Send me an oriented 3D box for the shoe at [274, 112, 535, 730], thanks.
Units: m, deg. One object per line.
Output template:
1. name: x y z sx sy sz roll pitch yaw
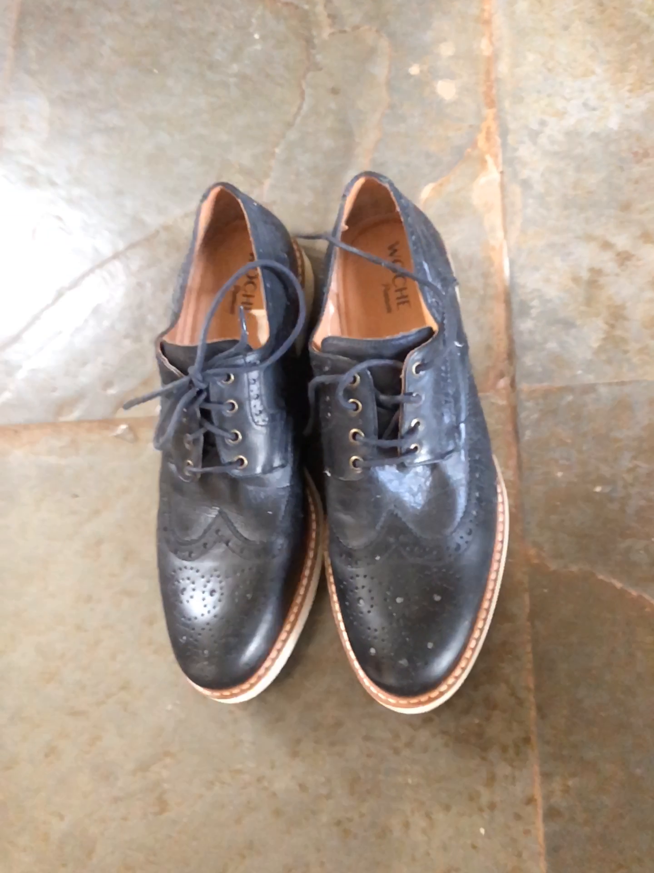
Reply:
1. shoe: 0.041 -0.007 0.397 0.110 0.100 0.301 -5 75 13

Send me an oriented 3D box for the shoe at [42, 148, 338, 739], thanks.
1. shoe: -0.063 0.002 0.406 0.110 0.100 0.291 -2 75 14
